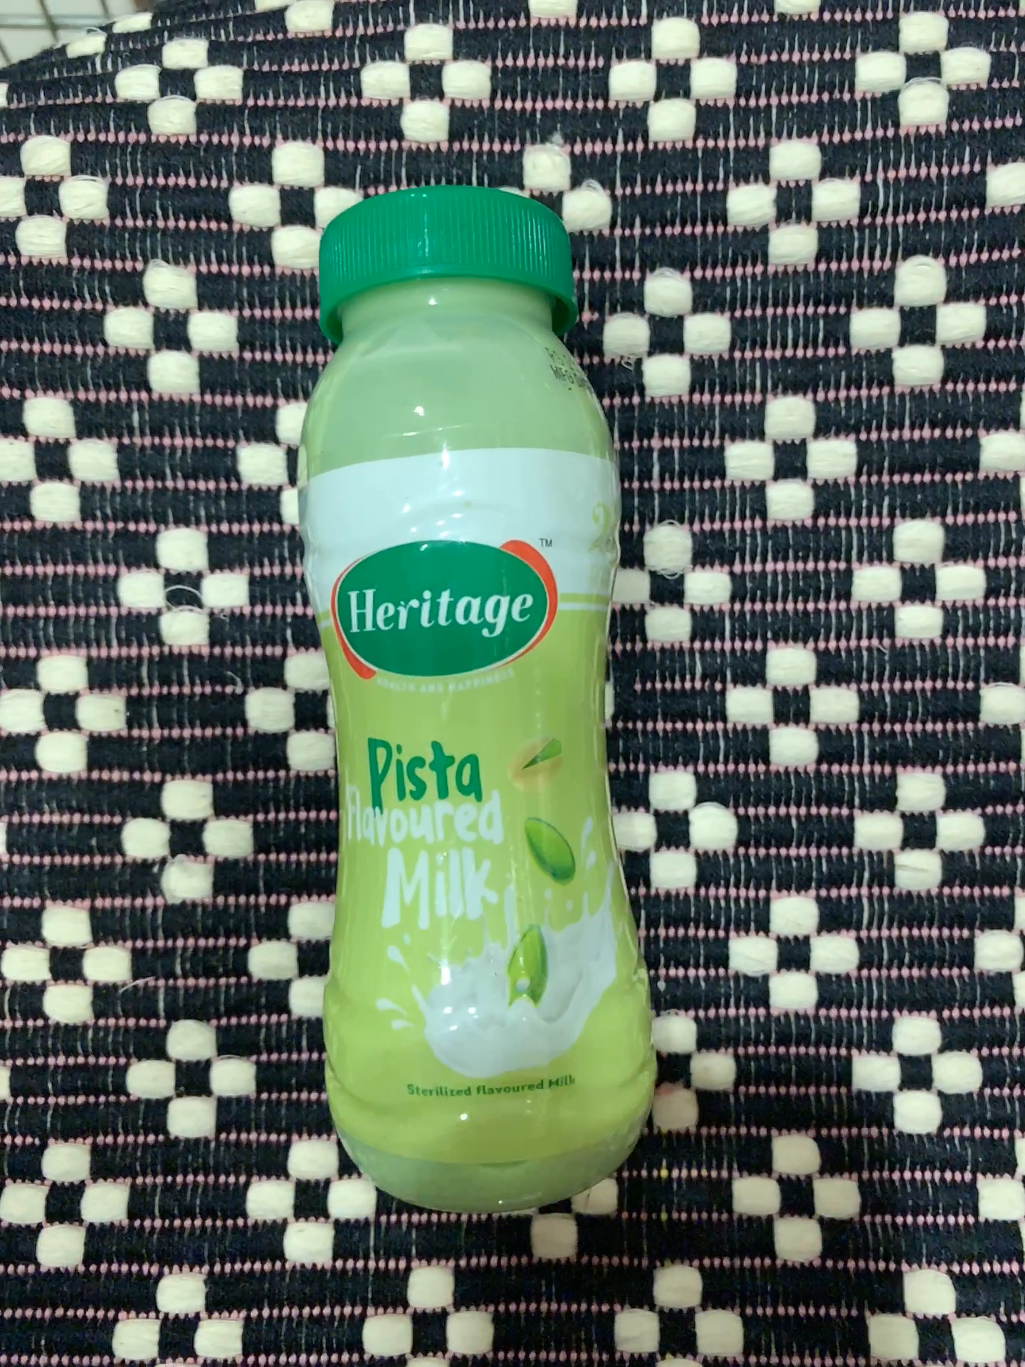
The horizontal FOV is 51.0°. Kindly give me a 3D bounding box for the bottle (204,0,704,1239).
[{"bbox_3d":[-0.008,-0.010,0.154,0.050,0.050,0.150,-4,87,-1],"label":"bottle"}]
